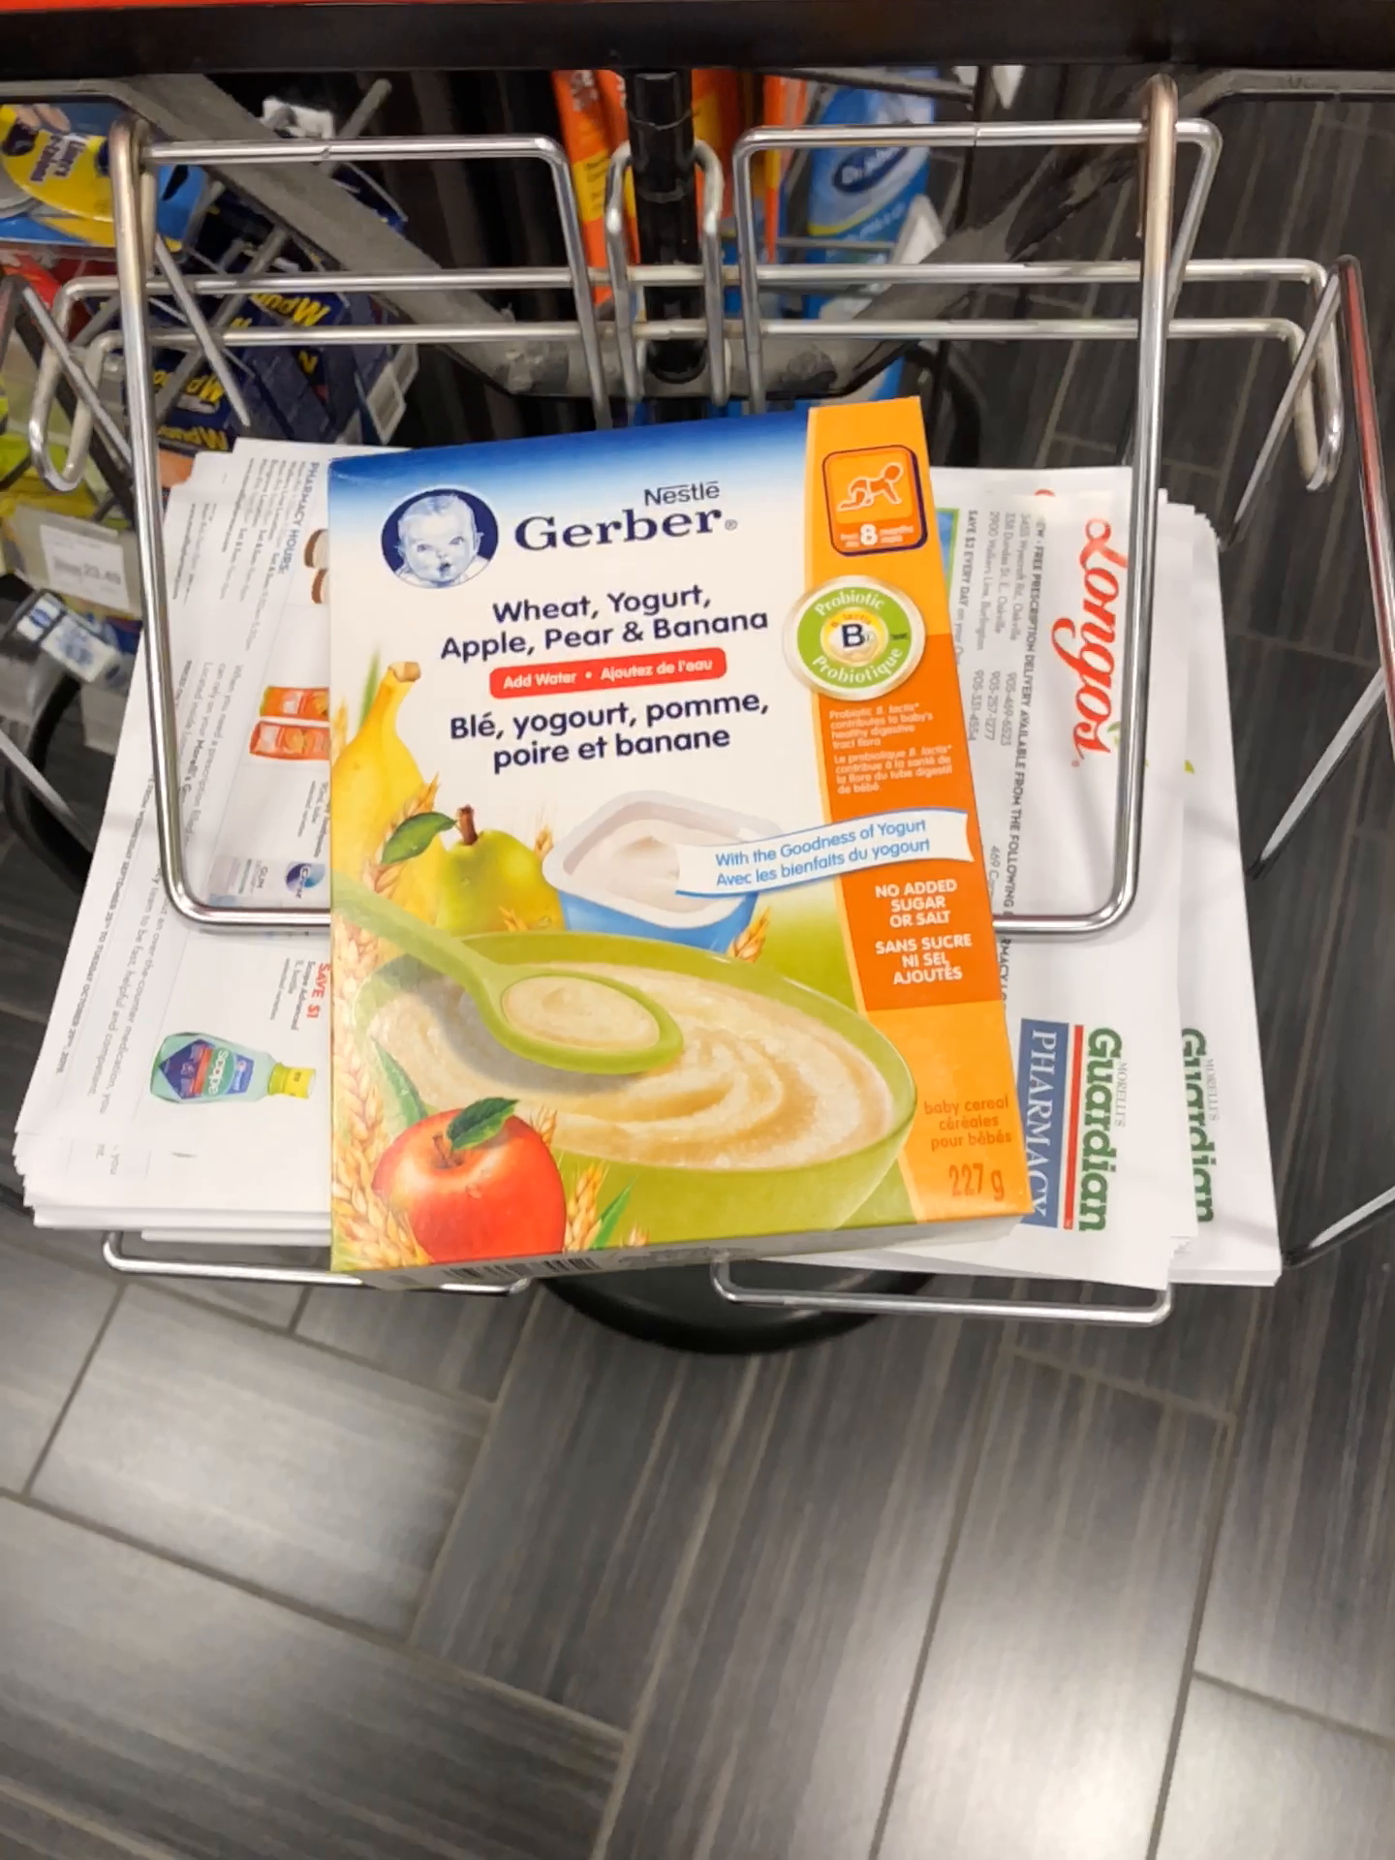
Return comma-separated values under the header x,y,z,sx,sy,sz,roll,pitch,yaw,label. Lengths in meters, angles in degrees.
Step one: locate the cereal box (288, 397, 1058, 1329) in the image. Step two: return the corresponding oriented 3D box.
x,y,z,sx,sy,sz,roll,pitch,yaw,label
-0.010,-0.018,0.359,0.150,0.050,0.200,-5,69,3,cereal box
